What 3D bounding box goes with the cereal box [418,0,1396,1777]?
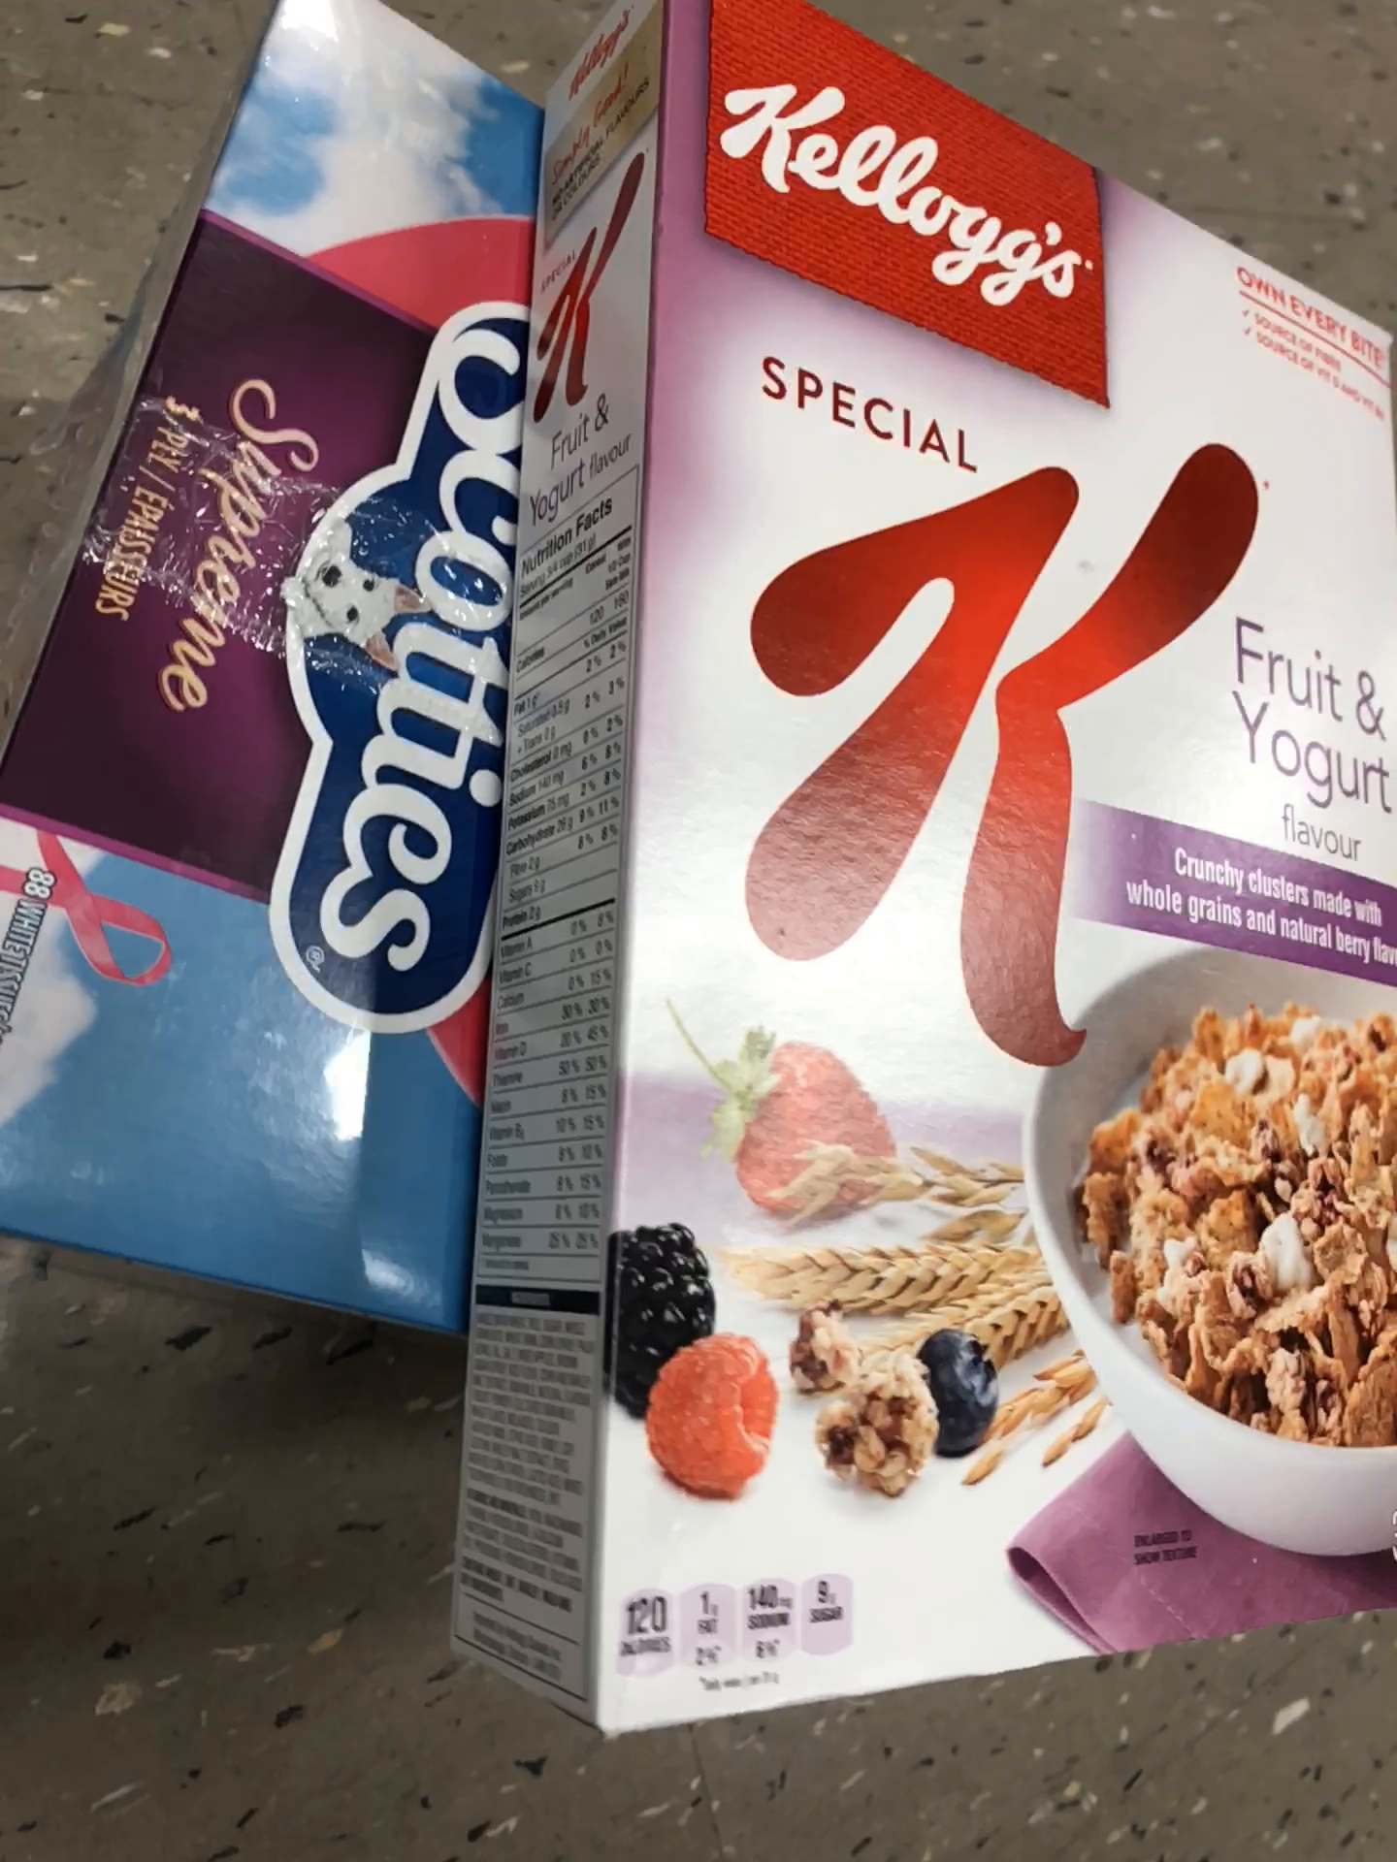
[{"bbox_3d":[0.063,-0.018,0.292,0.211,0.050,0.280,10,73,-32],"label":"cereal box"}]
